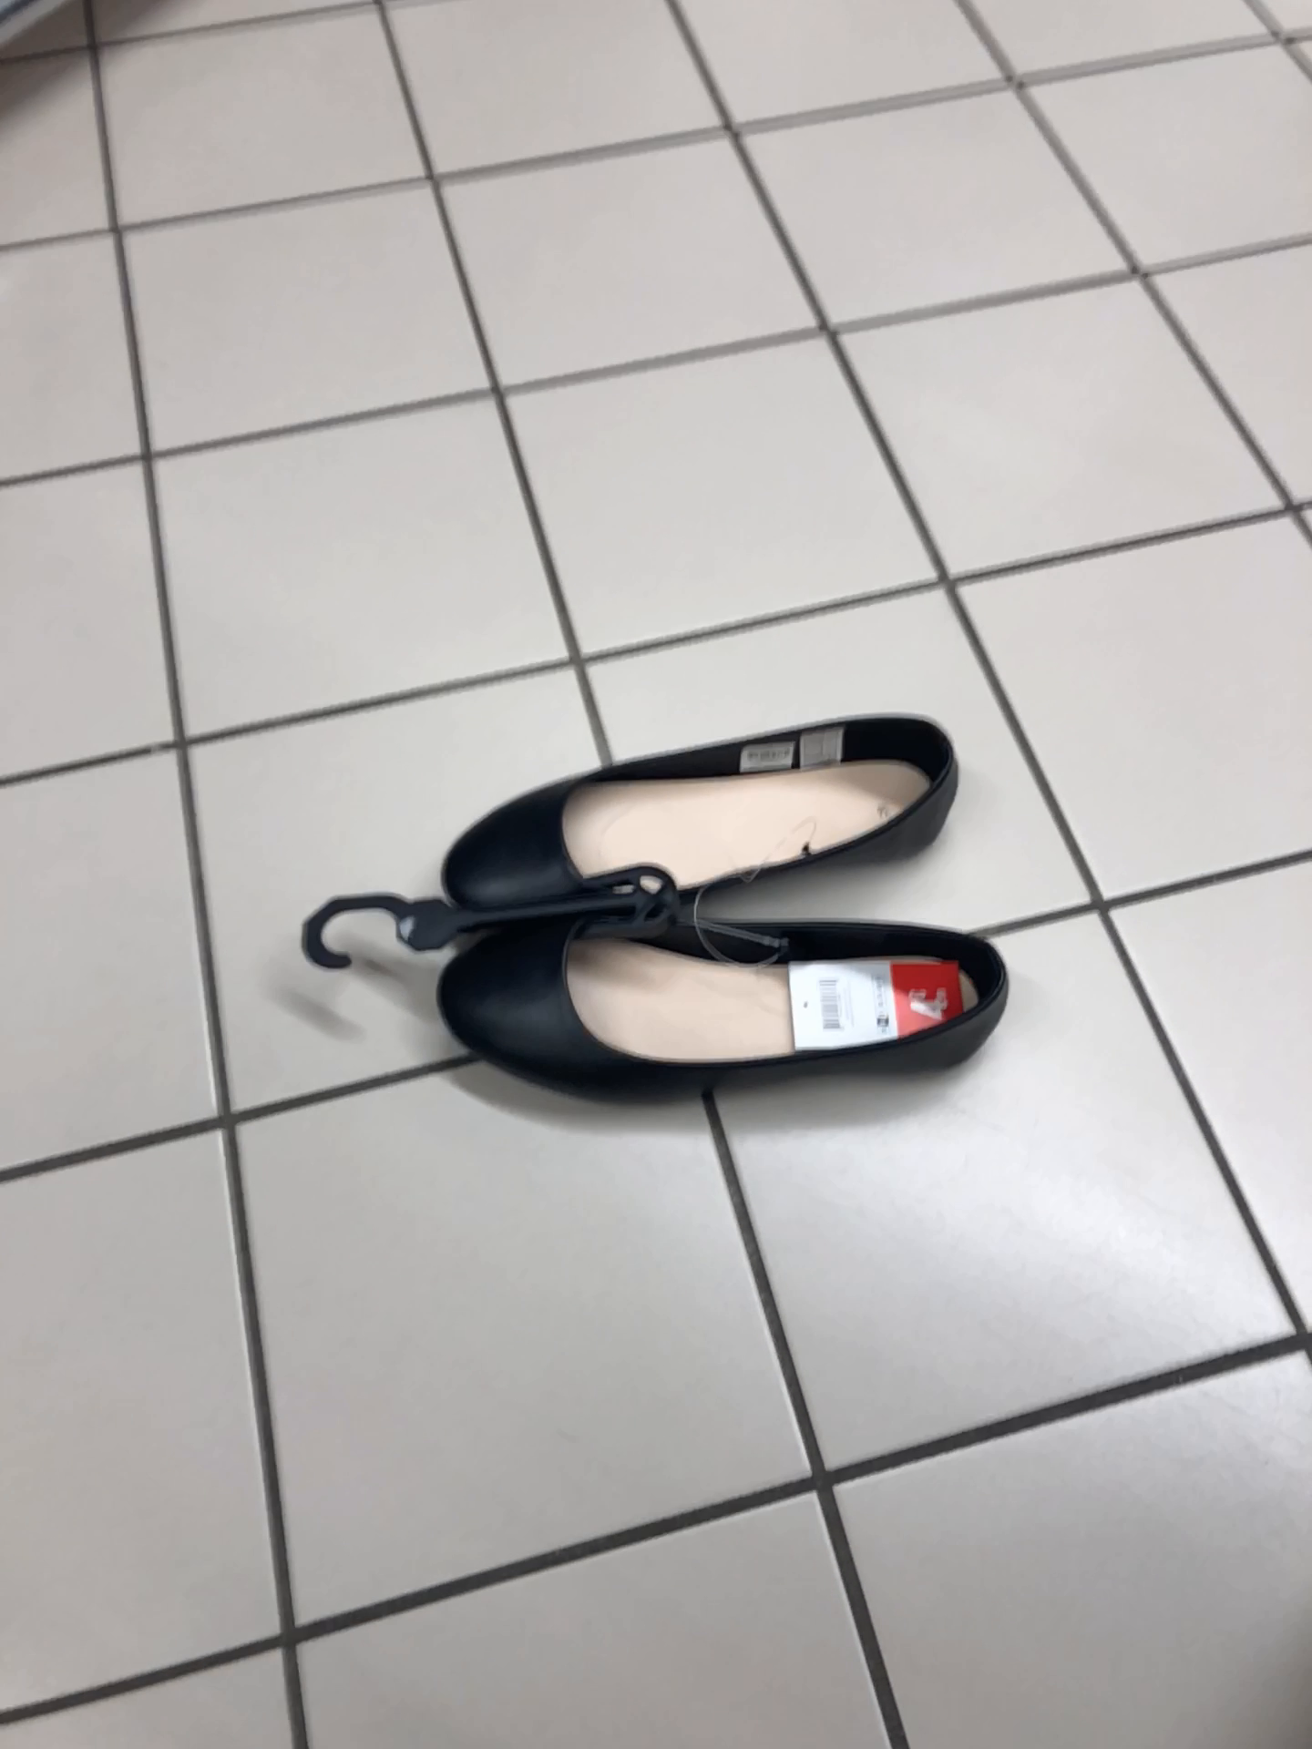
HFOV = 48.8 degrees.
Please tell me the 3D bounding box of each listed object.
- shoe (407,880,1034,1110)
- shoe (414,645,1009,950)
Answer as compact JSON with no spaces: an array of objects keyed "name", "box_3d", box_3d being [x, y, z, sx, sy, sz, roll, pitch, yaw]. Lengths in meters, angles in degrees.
[{"name":"shoe","box_3d":[0.026,0.052,0.623,0.250,0.060,0.080,0,60,0]},{"name":"shoe","box_3d":[0.023,-0.036,0.661,0.250,0.060,0.080,-10,61,-5]}]
